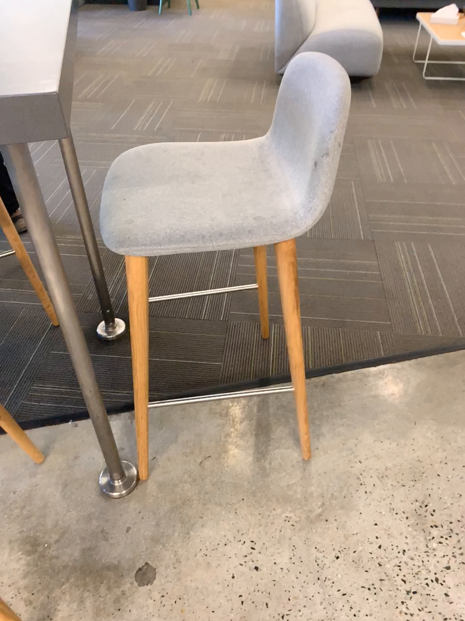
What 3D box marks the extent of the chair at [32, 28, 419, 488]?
[{"bbox_3d":[-0.044,-0.107,1.194,0.550,0.925,0.594,-6,42,-7],"label":"chair"}]
